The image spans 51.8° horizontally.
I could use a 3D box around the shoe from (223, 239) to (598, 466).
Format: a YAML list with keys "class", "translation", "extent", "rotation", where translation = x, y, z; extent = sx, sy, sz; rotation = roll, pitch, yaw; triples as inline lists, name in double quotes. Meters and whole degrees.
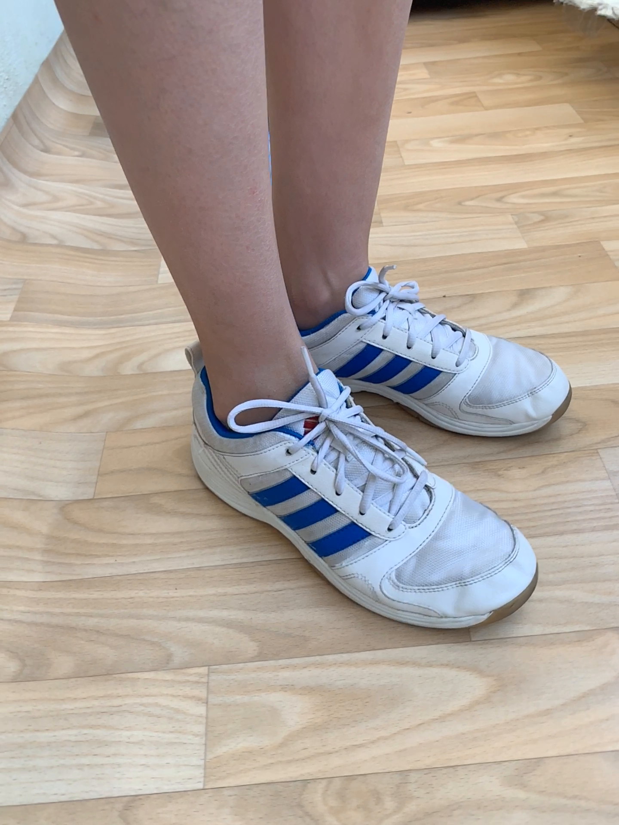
- class: "shoe"
  translation: [0.076, -0.055, 0.509]
  extent: [0.260, 0.090, 0.100]
  rotation: [13, 50, 18]

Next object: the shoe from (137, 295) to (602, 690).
- class: "shoe"
  translation: [0.027, 0.039, 0.417]
  extent: [0.261, 0.120, 0.100]
  rotation: [27, 55, 28]
